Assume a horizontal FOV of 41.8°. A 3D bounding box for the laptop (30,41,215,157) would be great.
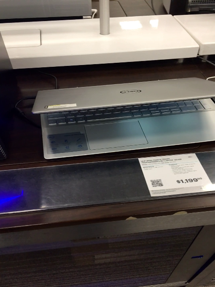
[{"bbox_3d":[0.061,-0.101,0.588,0.408,0.109,0.217,-7,47,-4],"label":"laptop"}]
